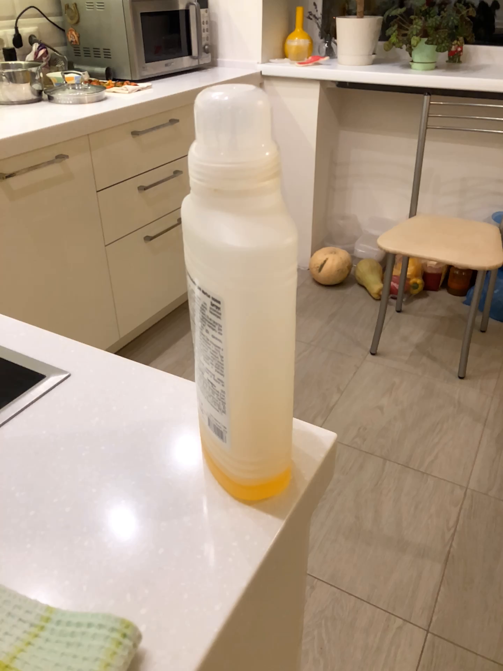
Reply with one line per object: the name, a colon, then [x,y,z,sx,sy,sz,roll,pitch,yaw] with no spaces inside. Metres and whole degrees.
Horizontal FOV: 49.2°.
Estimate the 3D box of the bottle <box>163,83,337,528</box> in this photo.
bottle: [-0.003,-0.012,0.358,0.061,0.264,0.102,-12,32,-16]
